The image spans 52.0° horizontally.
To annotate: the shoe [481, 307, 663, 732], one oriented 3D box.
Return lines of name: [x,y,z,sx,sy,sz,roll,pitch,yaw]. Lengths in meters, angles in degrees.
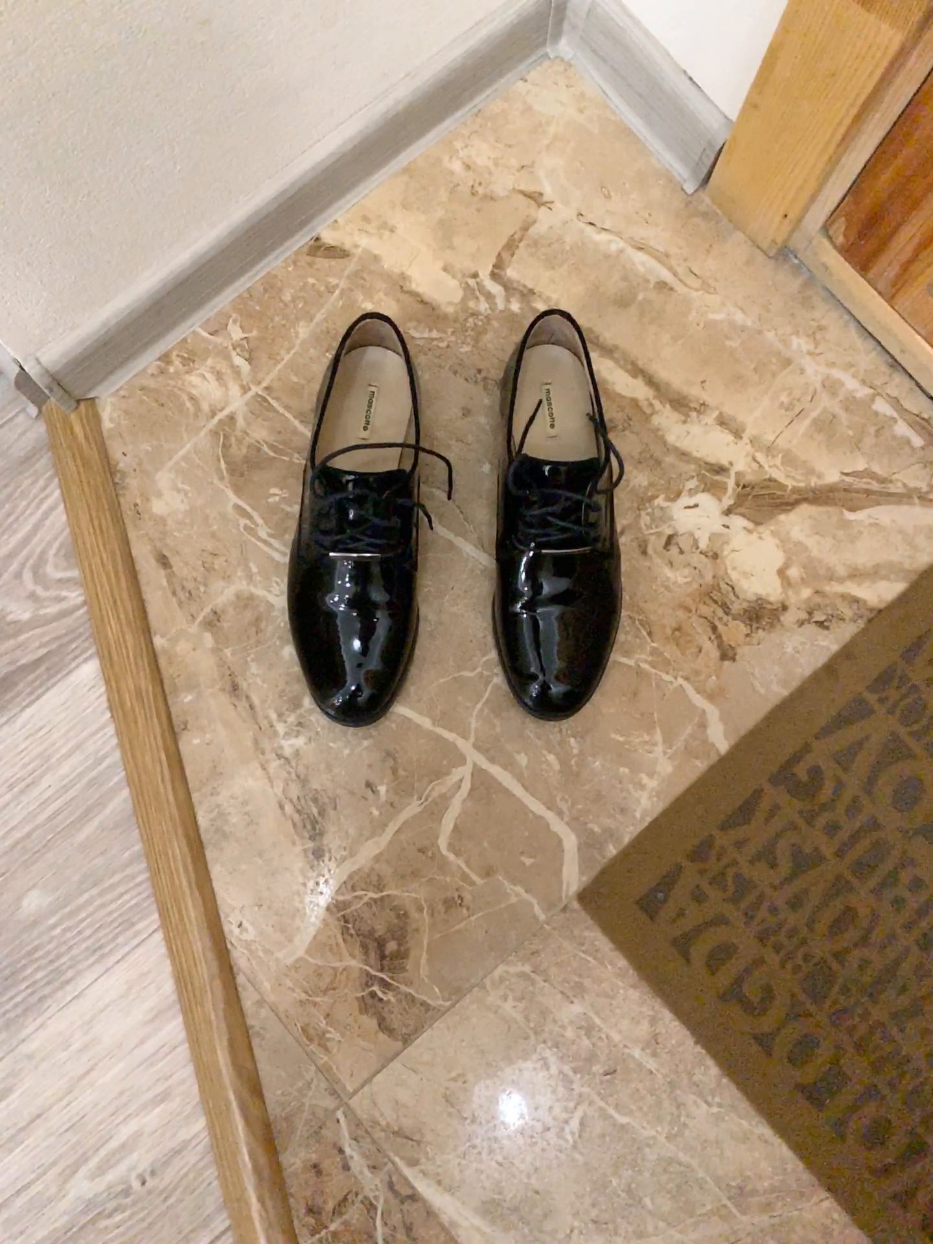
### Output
shoe: [0.056,-0.053,0.570,0.090,0.110,0.230,0,81,-1]

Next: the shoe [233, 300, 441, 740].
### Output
shoe: [-0.068,-0.052,0.564,0.086,0.110,0.230,5,81,-1]
